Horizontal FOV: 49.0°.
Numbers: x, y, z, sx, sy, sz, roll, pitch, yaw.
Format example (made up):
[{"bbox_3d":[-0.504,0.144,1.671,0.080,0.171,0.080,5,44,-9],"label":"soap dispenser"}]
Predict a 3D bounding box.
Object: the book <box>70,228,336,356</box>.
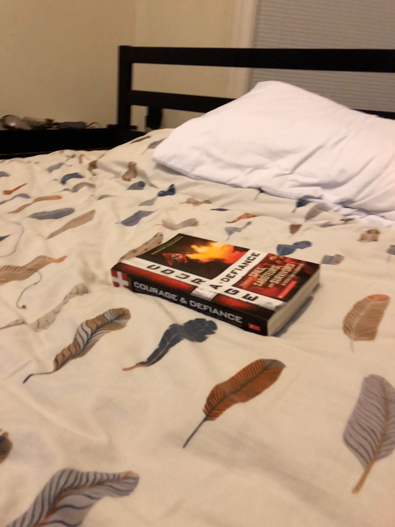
[{"bbox_3d":[0.014,0.013,0.492,0.230,0.020,0.201,16,23,28],"label":"book"}]
